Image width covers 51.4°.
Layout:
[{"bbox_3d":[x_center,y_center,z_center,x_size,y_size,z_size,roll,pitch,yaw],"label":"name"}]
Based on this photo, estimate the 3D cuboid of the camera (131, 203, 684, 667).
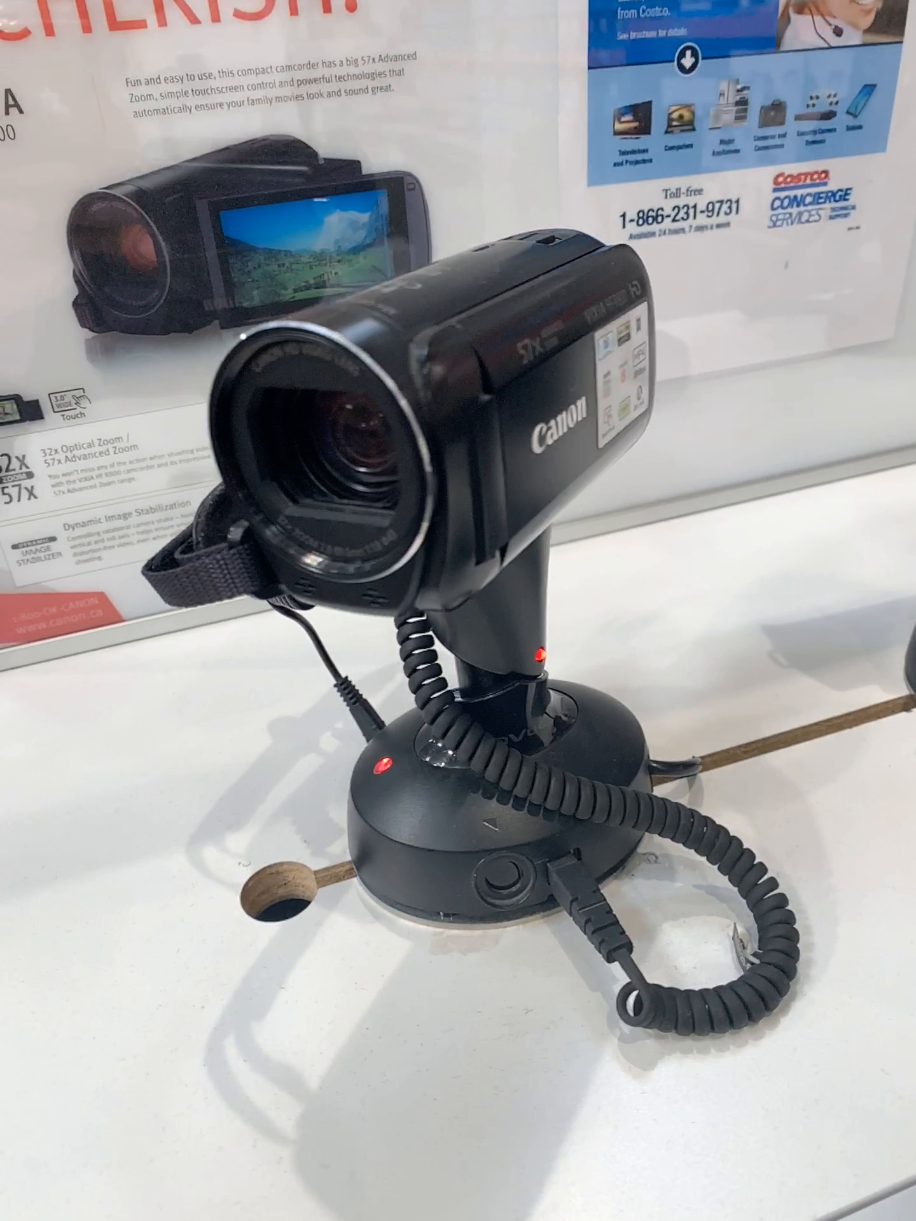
[{"bbox_3d":[0.002,-0.048,0.200,0.050,0.050,0.126,13,36,27],"label":"camera"}]
